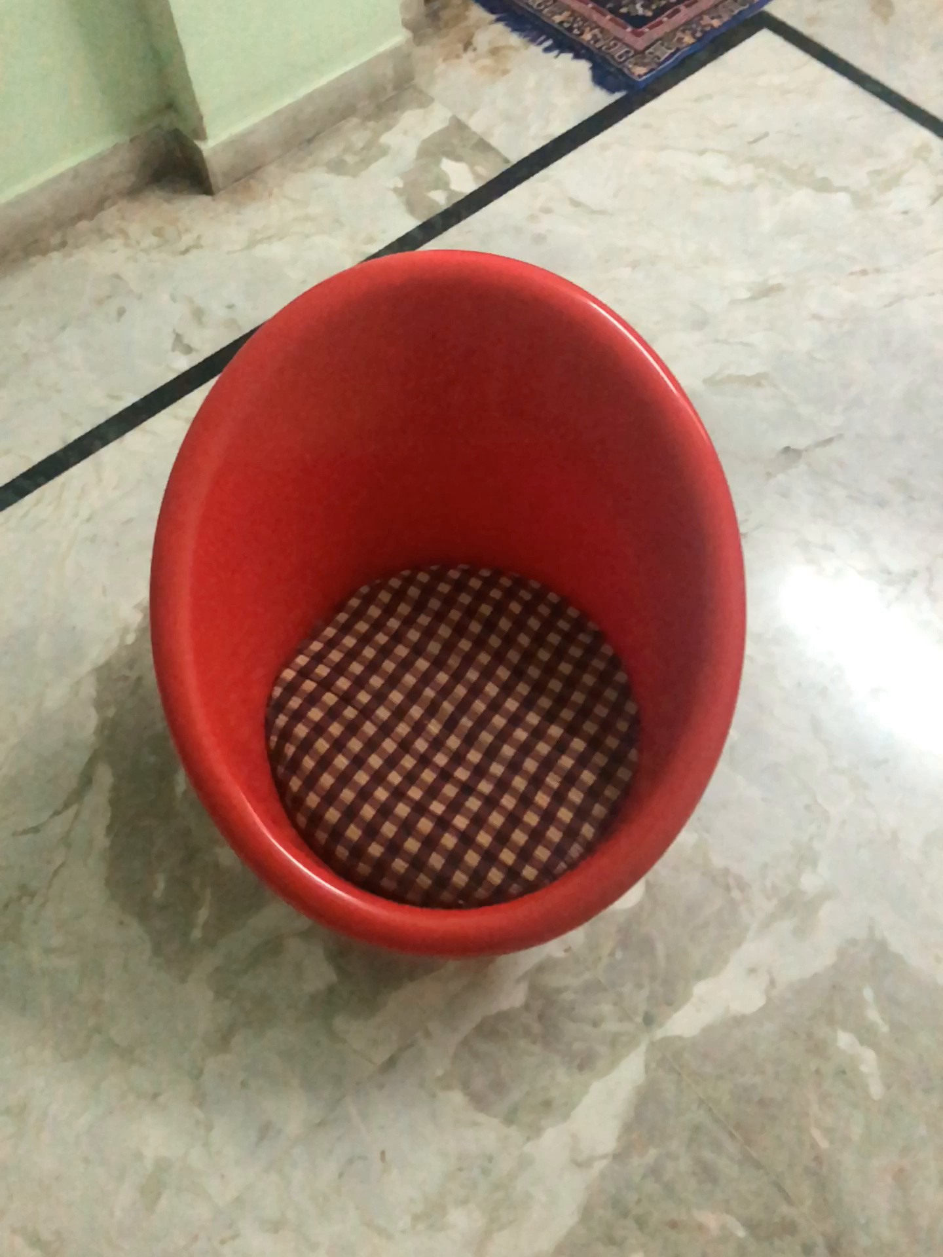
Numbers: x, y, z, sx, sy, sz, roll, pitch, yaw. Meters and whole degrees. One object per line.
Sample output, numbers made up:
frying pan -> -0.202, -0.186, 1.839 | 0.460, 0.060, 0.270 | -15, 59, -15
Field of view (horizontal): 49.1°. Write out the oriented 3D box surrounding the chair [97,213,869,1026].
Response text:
chair -> -0.027, 0.008, 1.216 | 0.620, 0.508, 0.743 | -7, 63, -2
